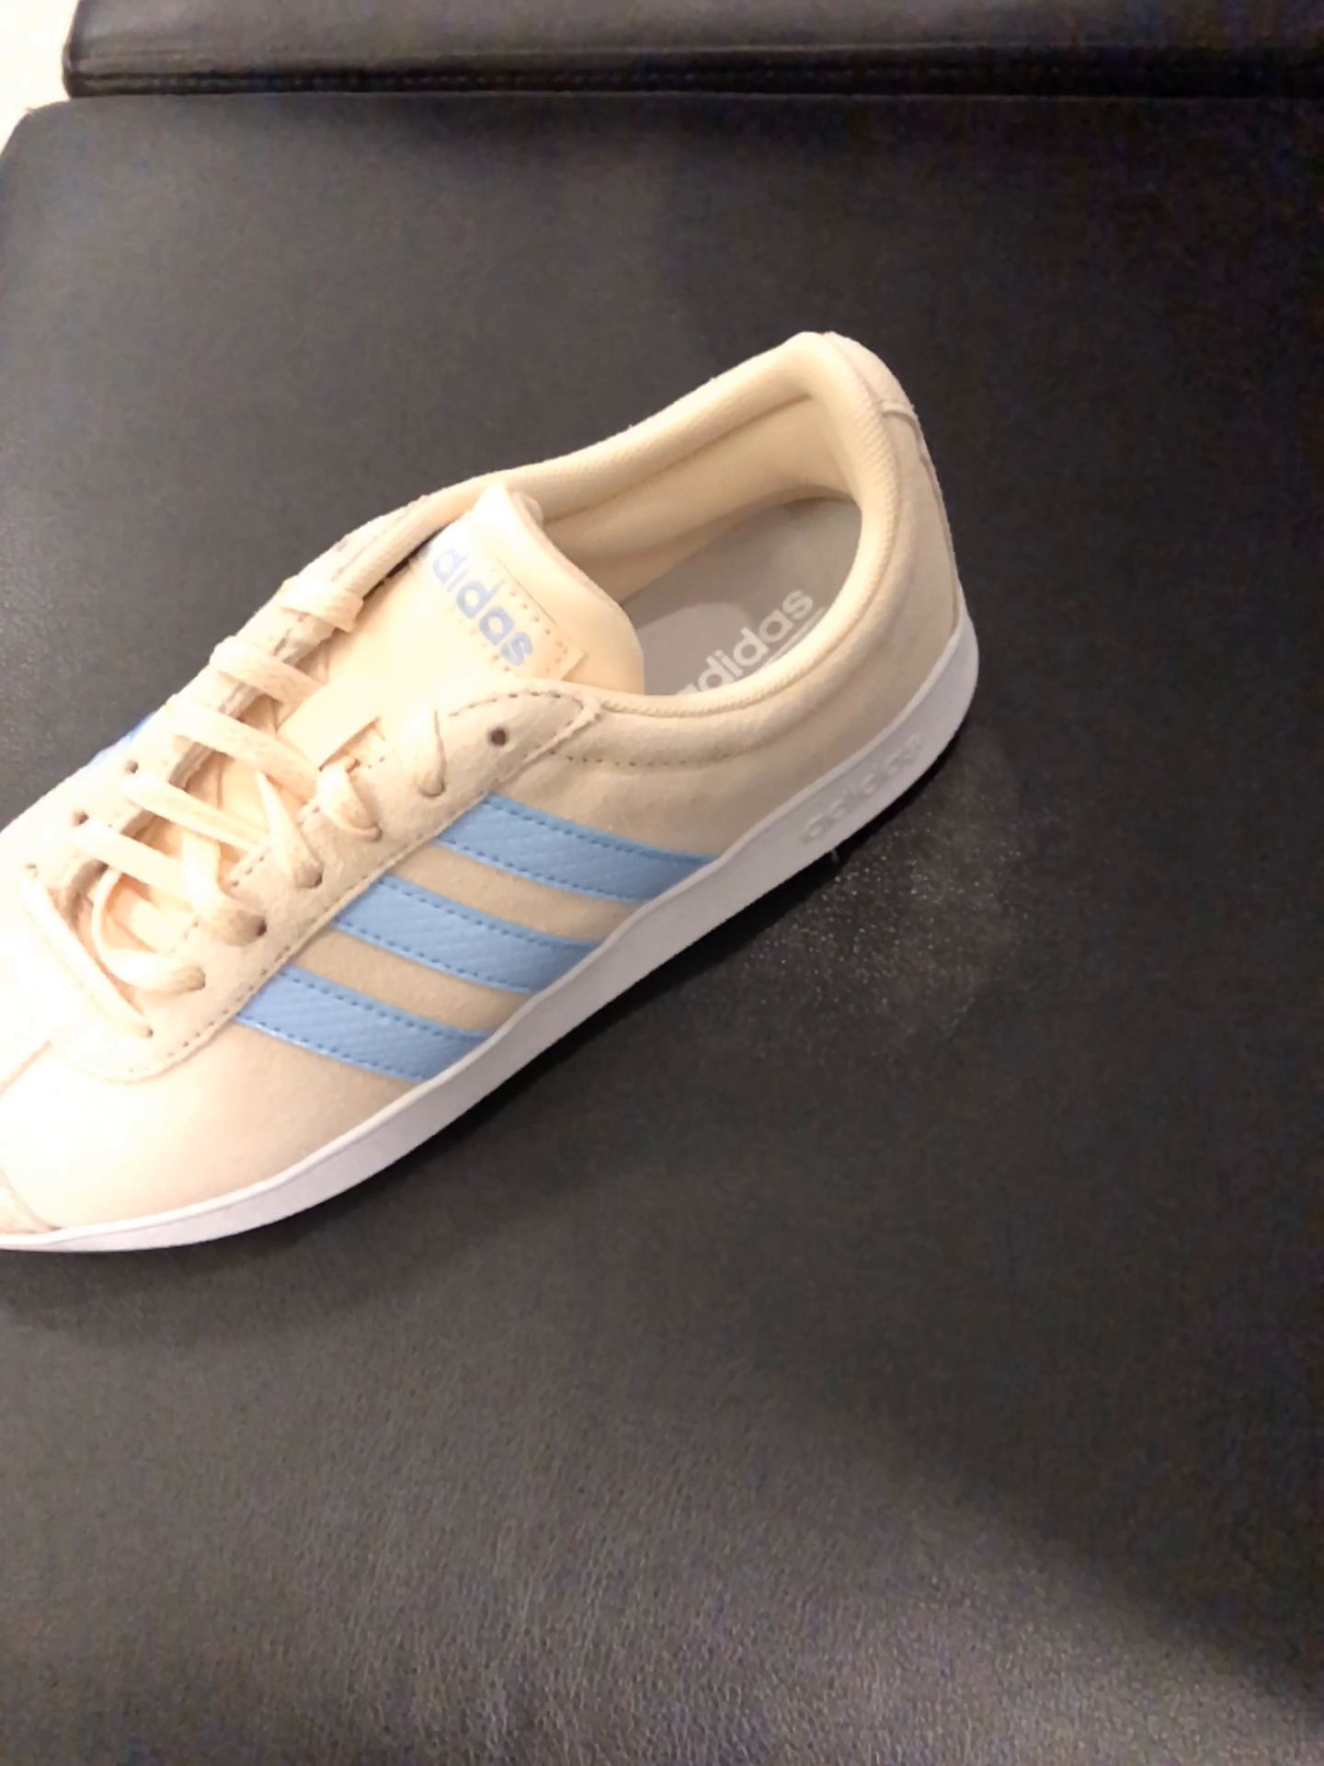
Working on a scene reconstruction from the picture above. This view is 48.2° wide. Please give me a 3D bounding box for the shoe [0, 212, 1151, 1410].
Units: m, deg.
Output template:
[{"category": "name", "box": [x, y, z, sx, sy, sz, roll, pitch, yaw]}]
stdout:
[{"category": "shoe", "box": [-0.049, -0.015, 0.297, 0.260, 0.090, 0.100, -30, 68, -11]}]
